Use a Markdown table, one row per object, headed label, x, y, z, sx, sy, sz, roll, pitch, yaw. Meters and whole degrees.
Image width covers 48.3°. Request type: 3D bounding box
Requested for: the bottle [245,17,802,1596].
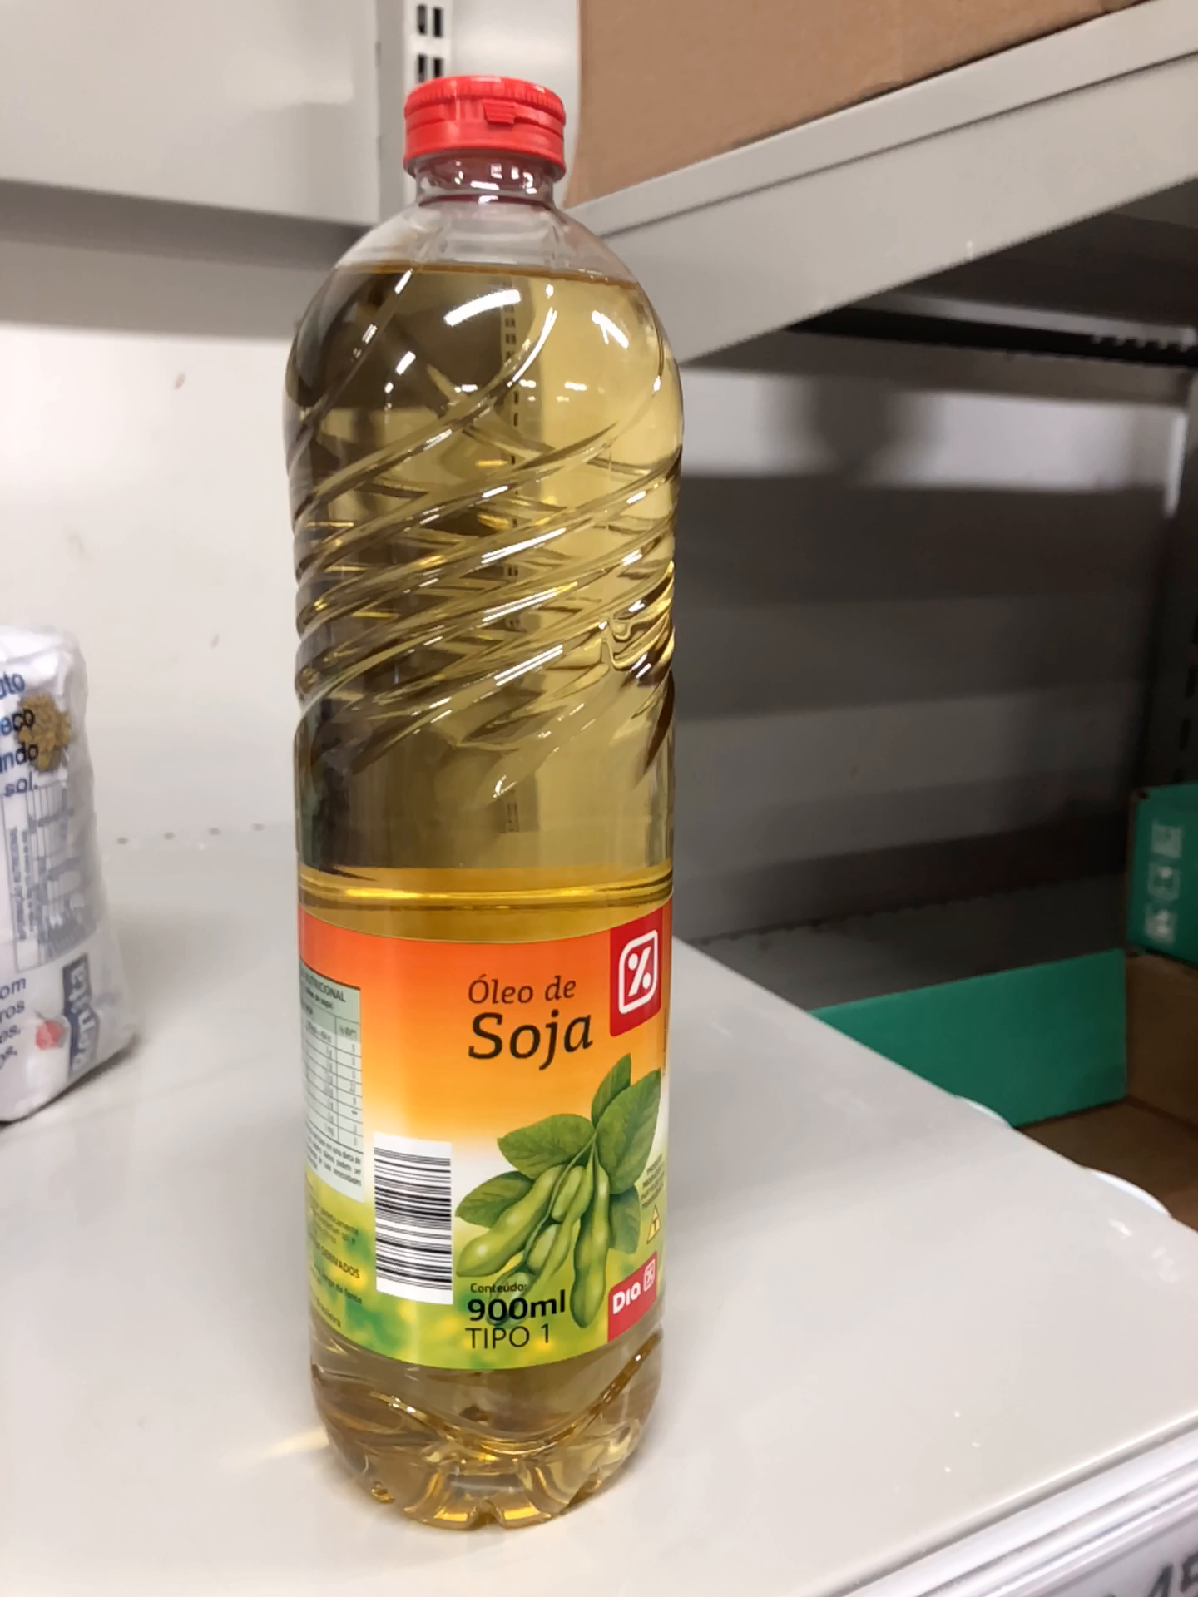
| label | x | y | z | sx | sy | sz | roll | pitch | yaw |
| --- | --- | --- | --- | --- | --- | --- | --- | --- | --- |
| bottle | -0.024 | 0.008 | 0.260 | 0.080 | 0.259 | 0.070 | -2 | 13 | -21 |
